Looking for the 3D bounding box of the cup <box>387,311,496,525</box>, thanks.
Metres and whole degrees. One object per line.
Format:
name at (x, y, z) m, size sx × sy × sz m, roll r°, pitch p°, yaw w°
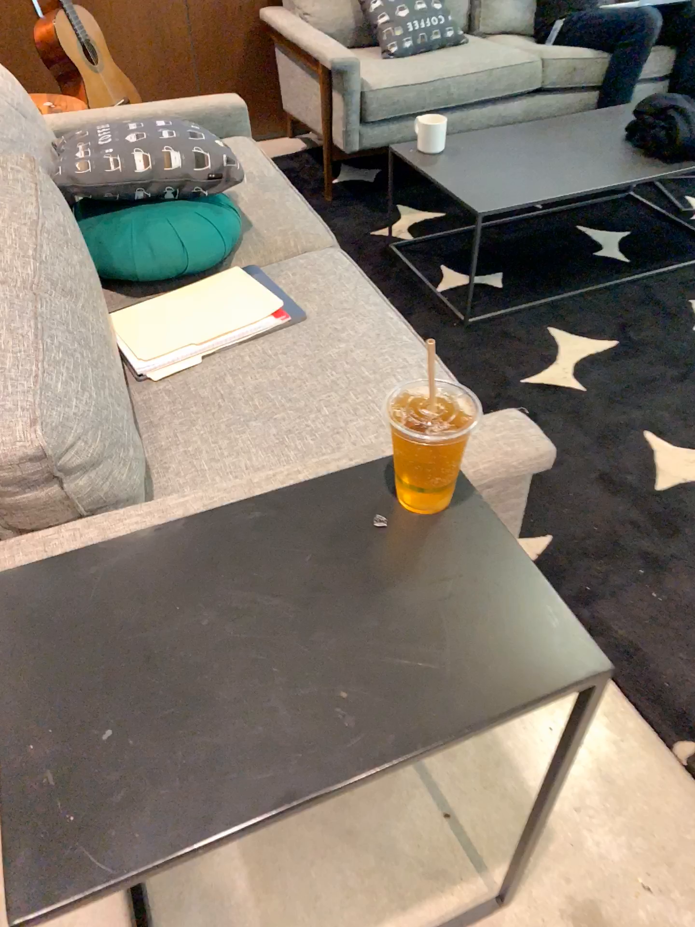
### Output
cup at (0.083, -0.039, 0.685) m, size 0.080 × 0.189 × 0.091 m, roll -1°, pitch 43°, yaw 0°
